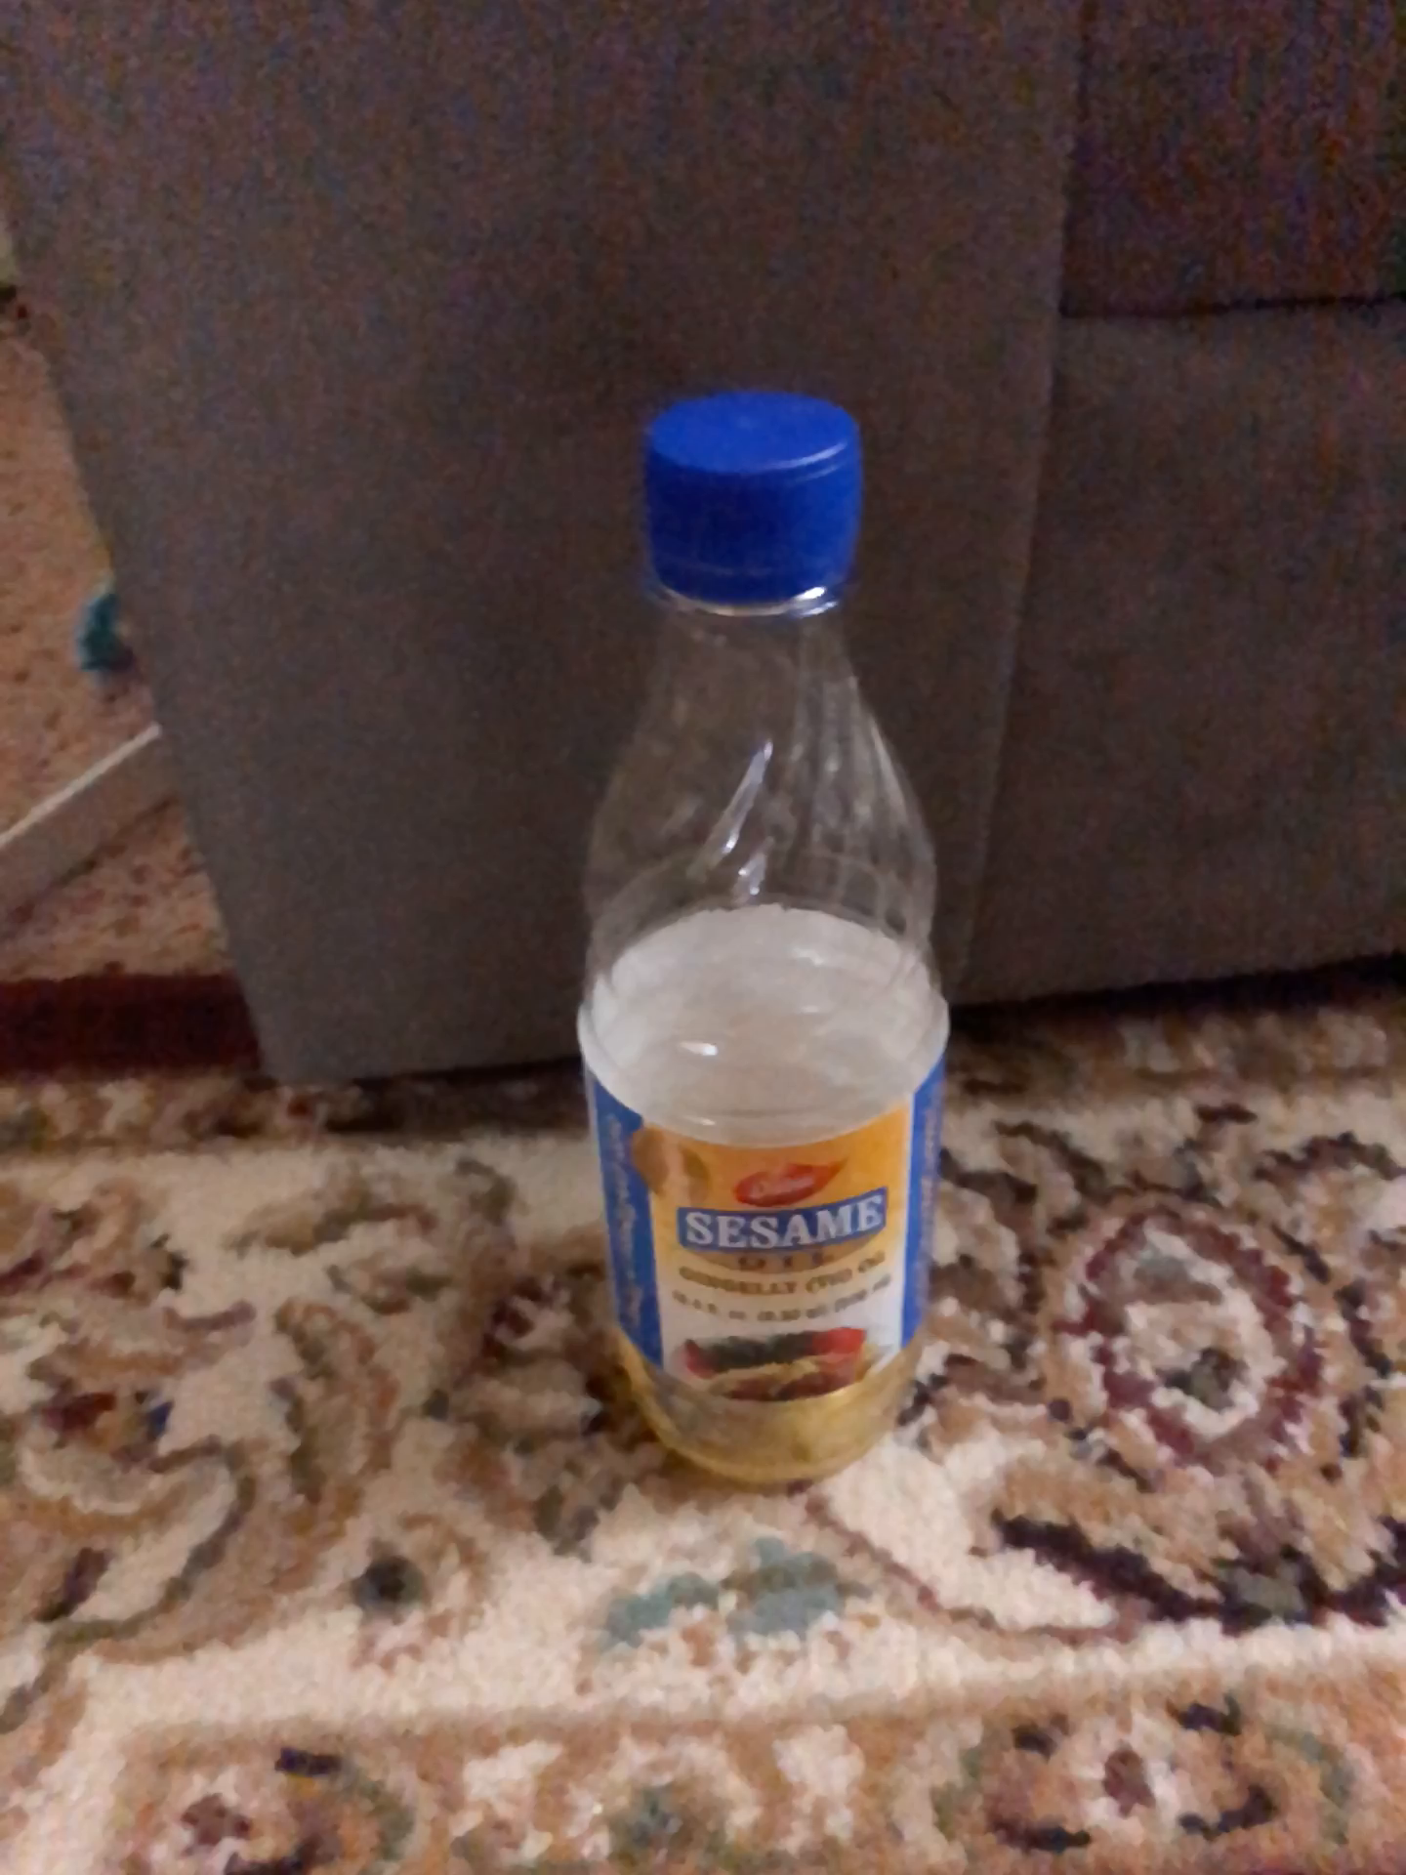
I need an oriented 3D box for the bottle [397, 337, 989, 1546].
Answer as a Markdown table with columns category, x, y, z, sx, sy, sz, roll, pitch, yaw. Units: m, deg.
| category | x | y | z | sx | sy | sz | roll | pitch | yaw |
| --- | --- | --- | --- | --- | --- | --- | --- | --- | --- |
| bottle | 0.004 | 0.012 | 0.271 | 0.070 | 0.199 | 0.070 | -3 | 36 | 2 |
